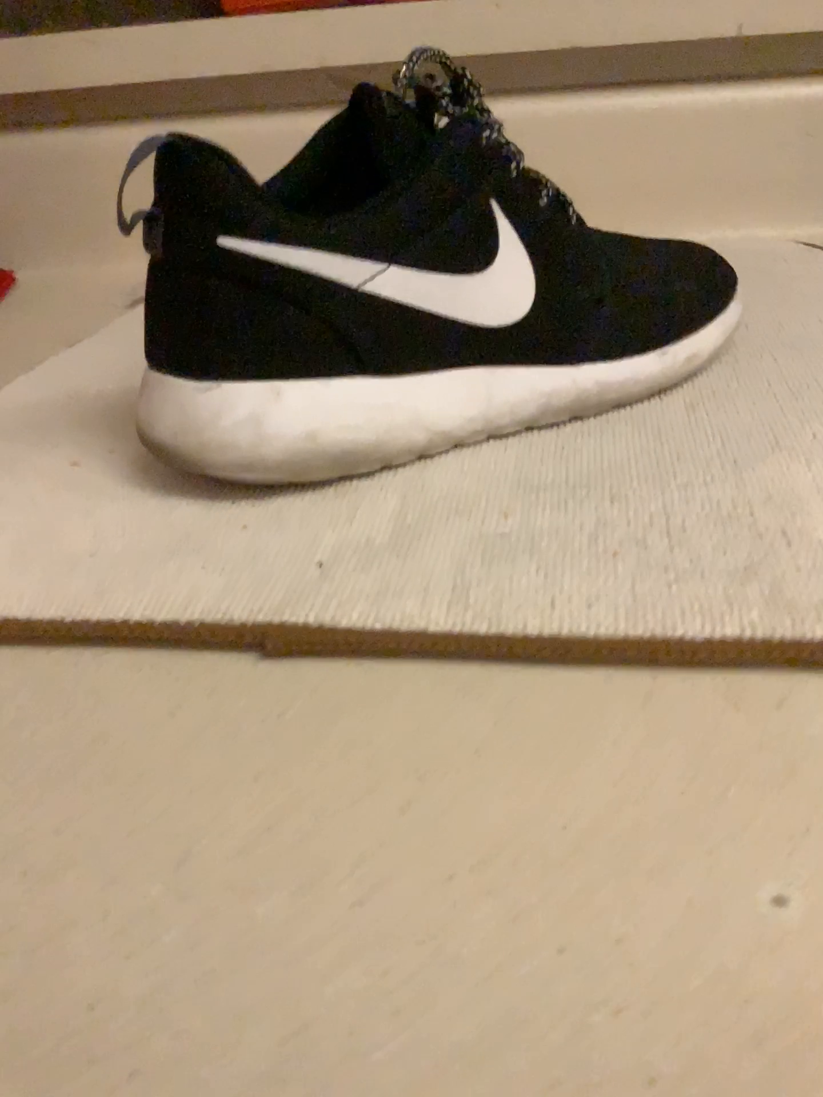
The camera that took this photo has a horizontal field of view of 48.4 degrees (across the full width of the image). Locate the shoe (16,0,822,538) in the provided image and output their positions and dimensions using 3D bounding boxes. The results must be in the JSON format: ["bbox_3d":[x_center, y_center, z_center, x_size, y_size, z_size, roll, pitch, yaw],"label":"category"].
[{"bbox_3d":[0.030,-0.122,0.336,0.280,0.120,0.130,-20,32,-27],"label":"shoe"}]
